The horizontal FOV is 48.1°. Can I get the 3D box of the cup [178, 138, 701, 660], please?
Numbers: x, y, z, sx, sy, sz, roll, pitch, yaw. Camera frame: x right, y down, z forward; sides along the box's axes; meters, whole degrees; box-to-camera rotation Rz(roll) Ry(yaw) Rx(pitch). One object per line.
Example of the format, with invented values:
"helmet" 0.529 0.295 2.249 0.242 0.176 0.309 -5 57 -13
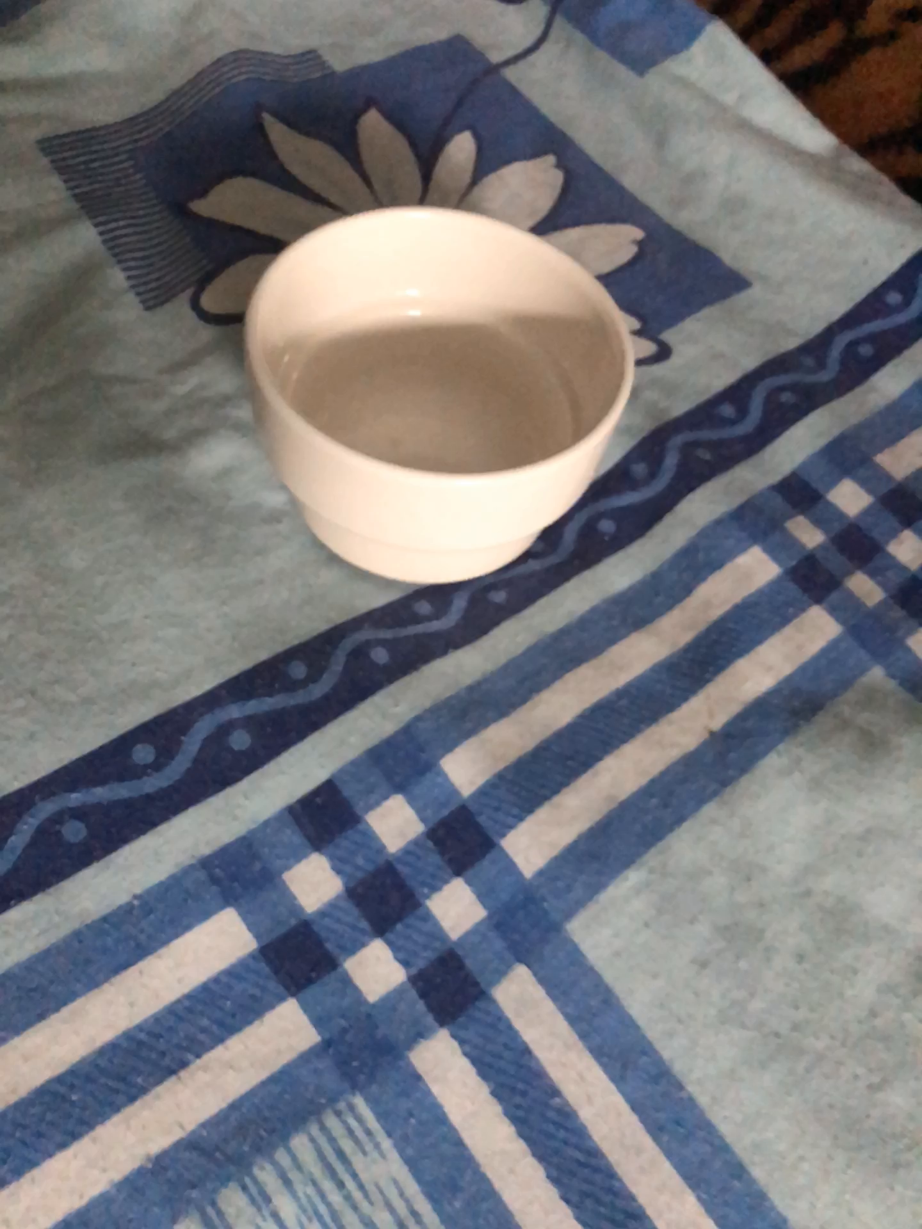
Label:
"cup" -0.008 -0.051 0.236 0.077 0.047 0.091 -22 66 -17
